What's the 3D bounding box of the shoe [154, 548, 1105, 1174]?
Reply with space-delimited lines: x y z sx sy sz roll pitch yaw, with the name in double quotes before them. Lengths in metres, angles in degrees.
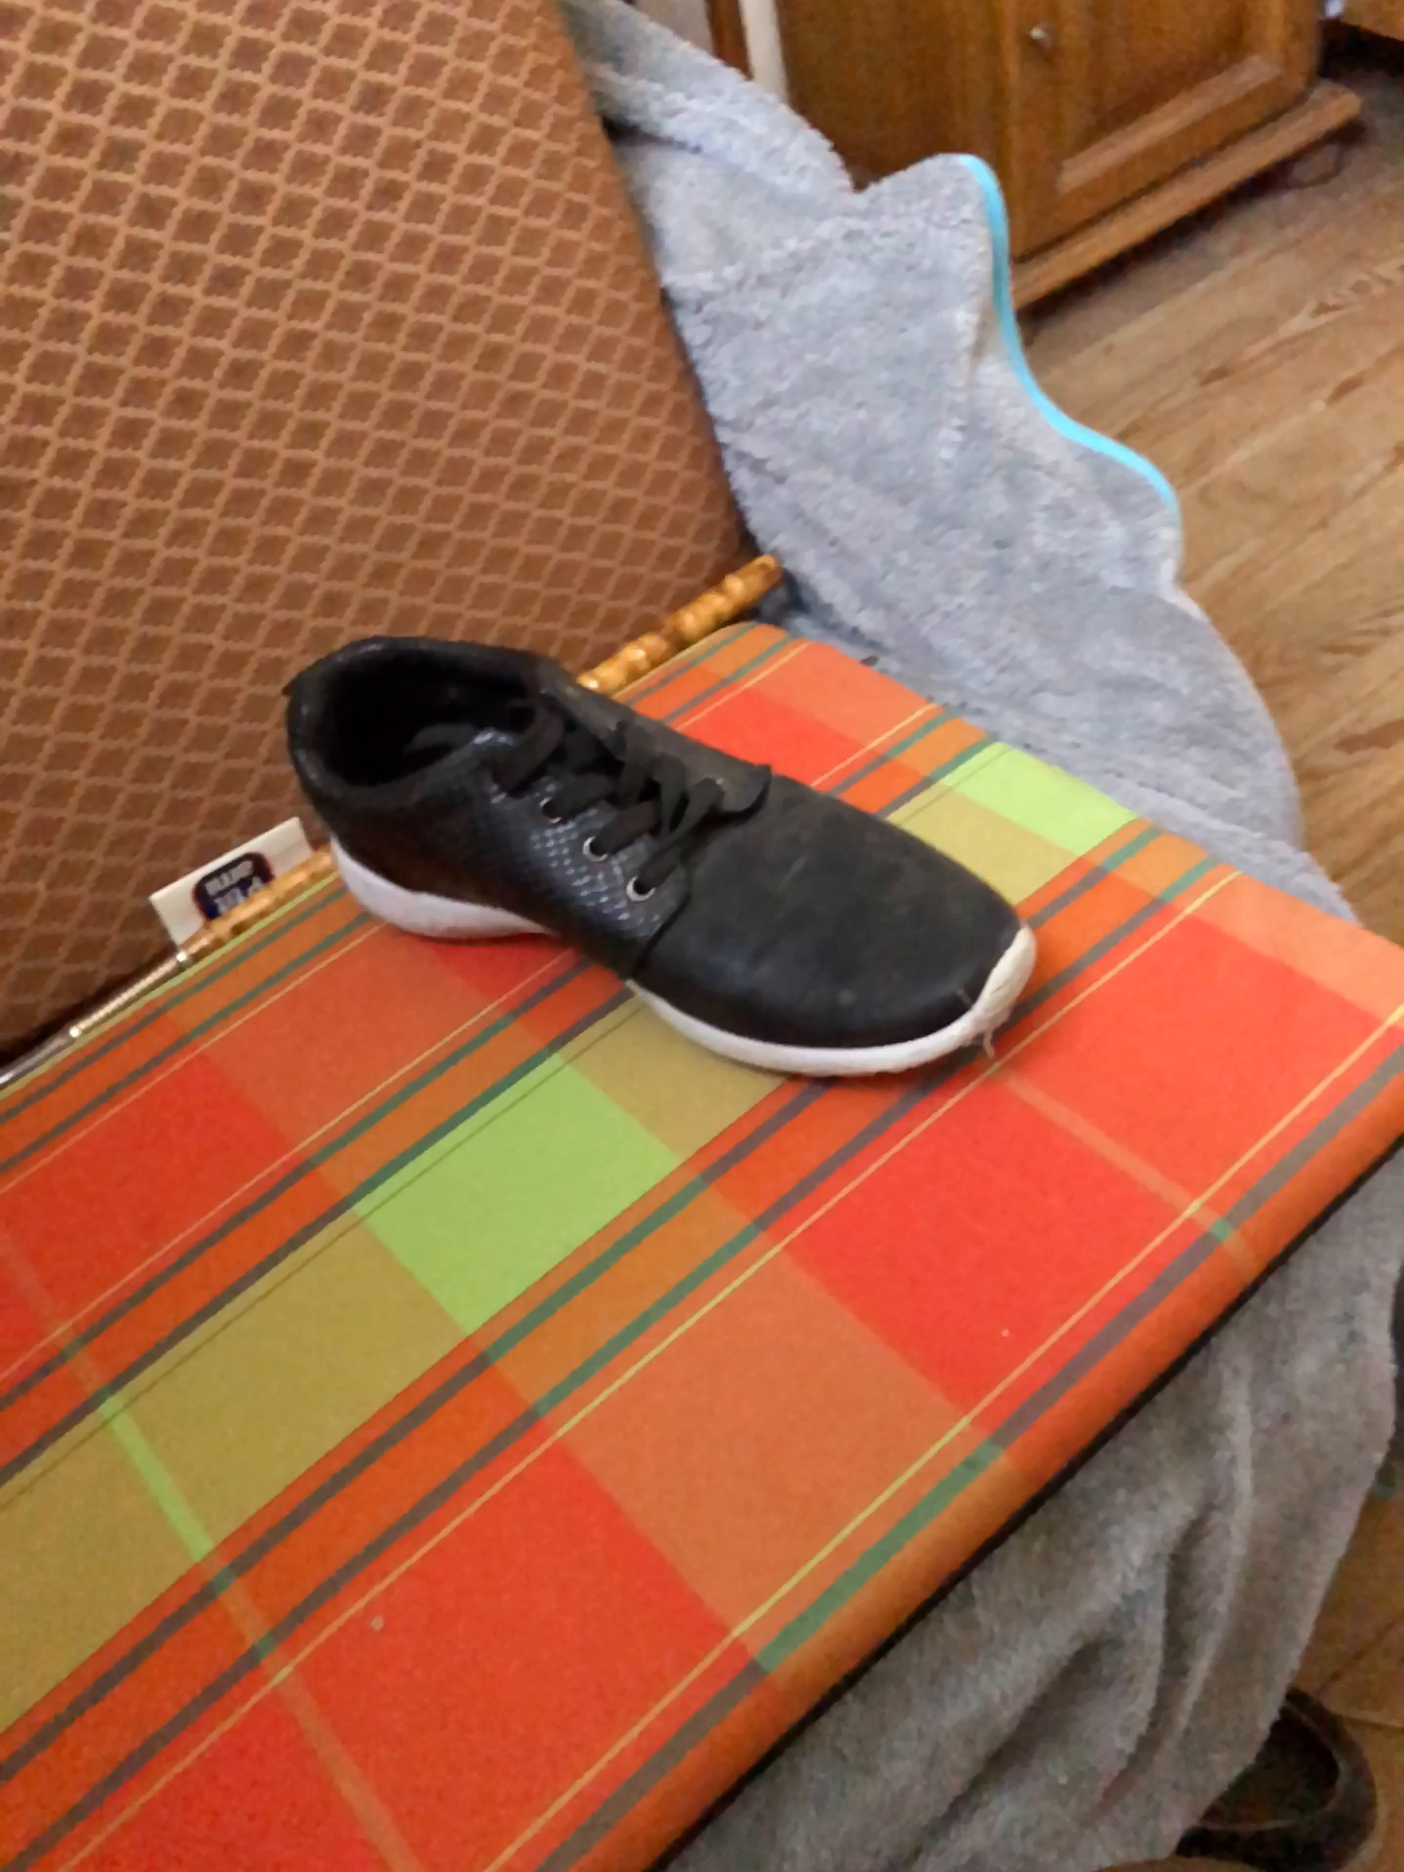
"shoe" -0.023 -0.035 0.483 0.266 0.080 0.111 17 56 26
